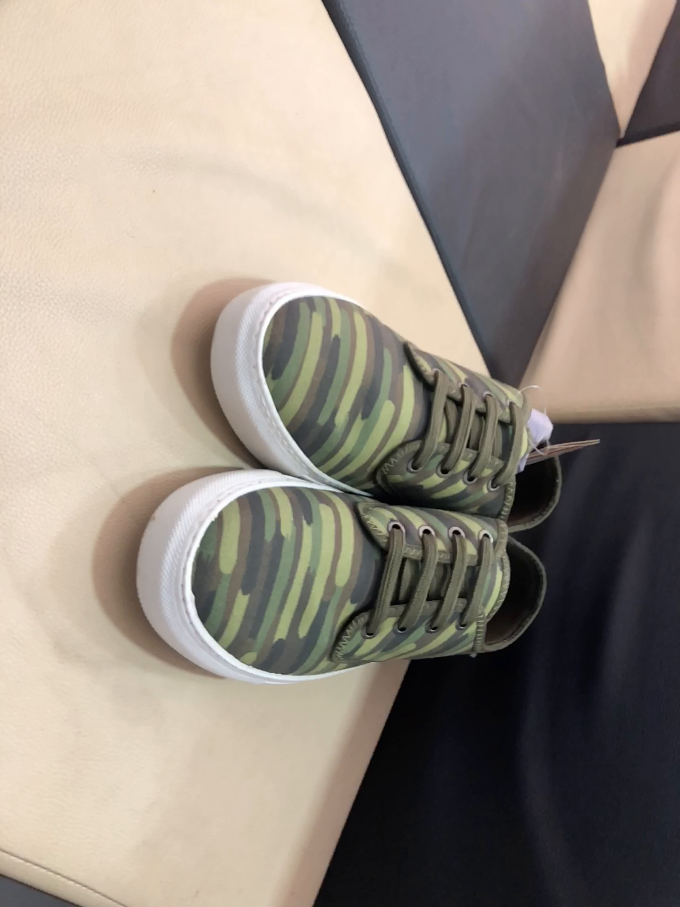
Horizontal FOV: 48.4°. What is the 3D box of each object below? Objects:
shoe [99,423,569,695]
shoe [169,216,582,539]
[{"bbox_3d":[0.029,0.070,0.424,0.312,0.079,0.100,20,75,-51],"label":"shoe"},{"bbox_3d":[0.050,-0.020,0.461,0.312,0.079,0.100,20,75,-51],"label":"shoe"}]
